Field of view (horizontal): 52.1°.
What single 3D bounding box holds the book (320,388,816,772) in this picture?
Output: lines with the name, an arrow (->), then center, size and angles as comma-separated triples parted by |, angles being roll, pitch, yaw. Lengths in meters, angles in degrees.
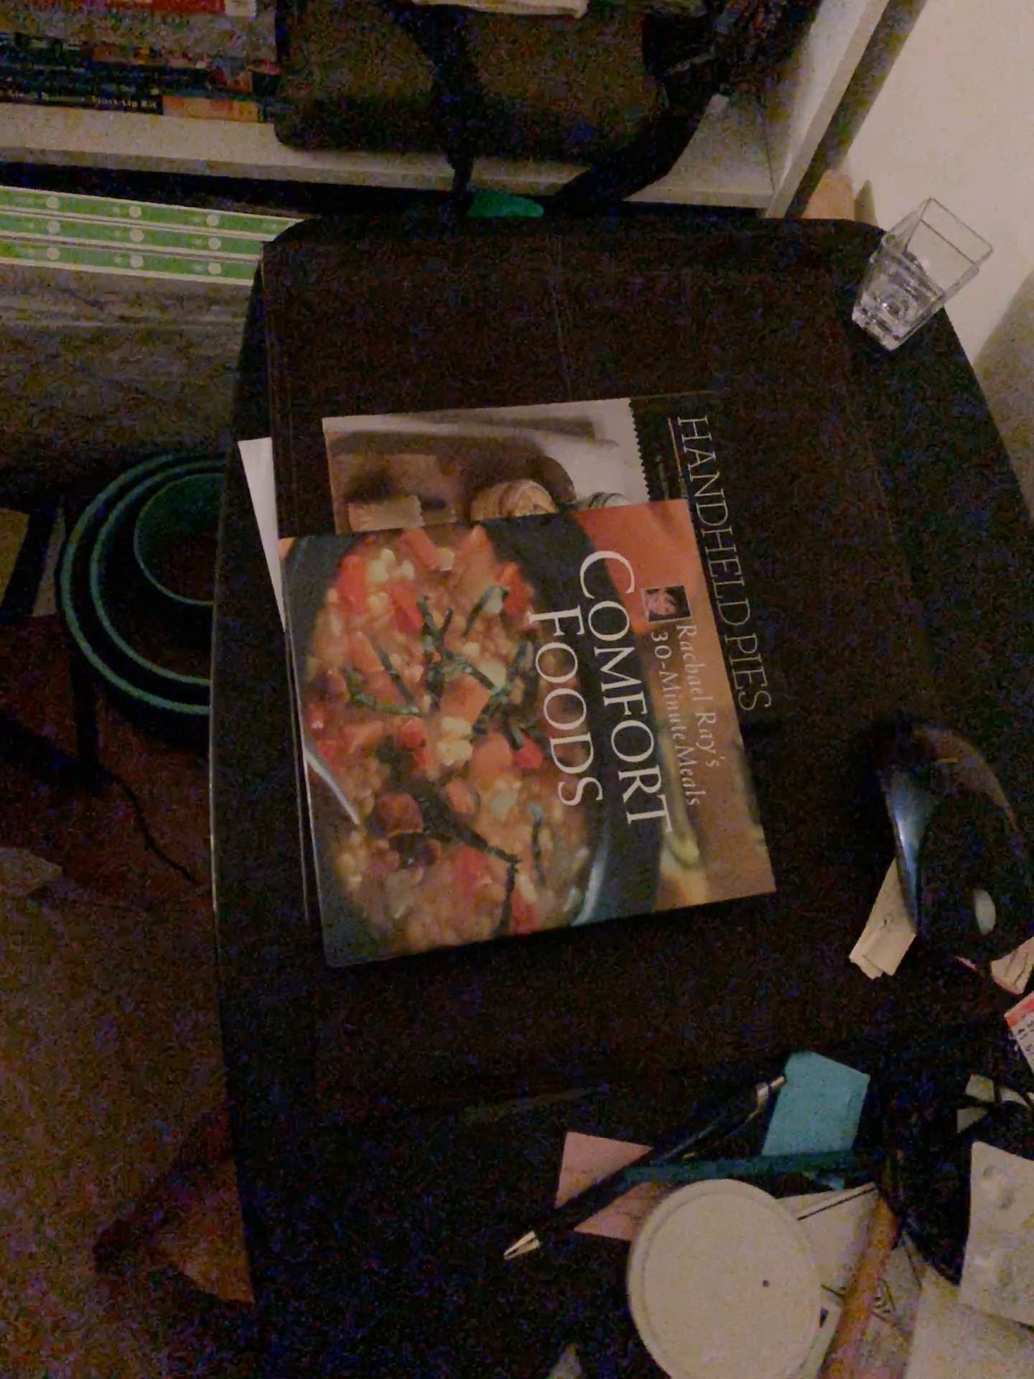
book -> 0.022, -0.061, 0.530 | 0.220, 0.020, 0.180 | -6, 73, -10

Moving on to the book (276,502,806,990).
book -> 0.007, 0.017, 0.485 | 0.210, 0.020, 0.200 | -7, 73, -10
